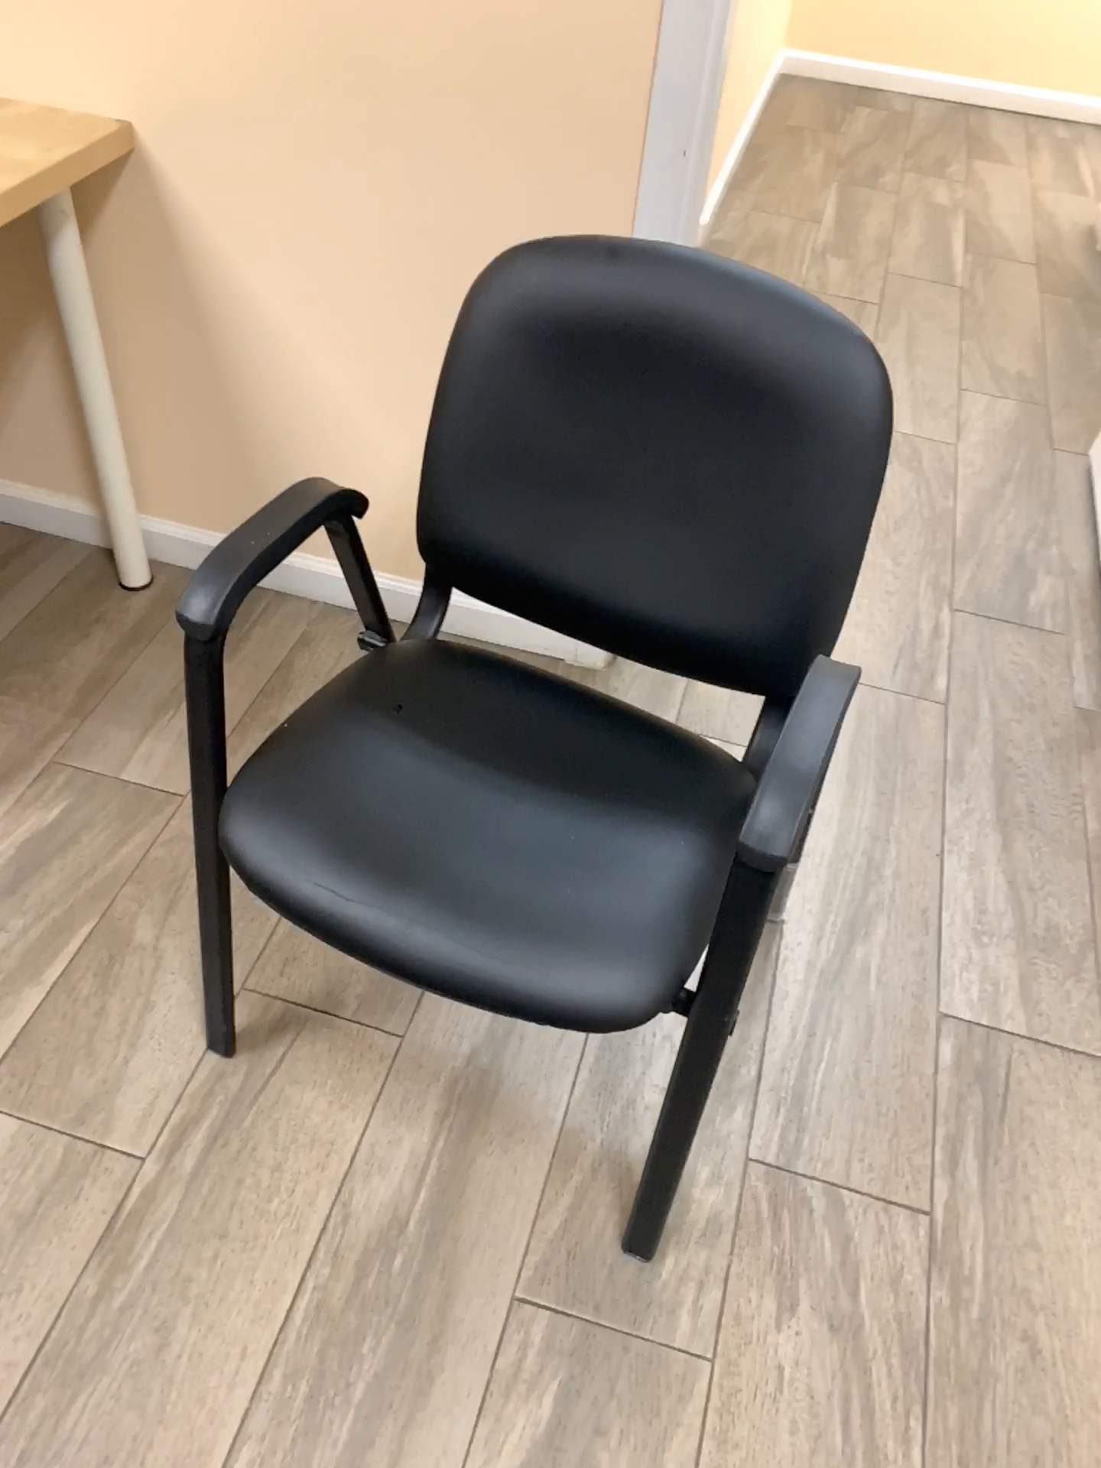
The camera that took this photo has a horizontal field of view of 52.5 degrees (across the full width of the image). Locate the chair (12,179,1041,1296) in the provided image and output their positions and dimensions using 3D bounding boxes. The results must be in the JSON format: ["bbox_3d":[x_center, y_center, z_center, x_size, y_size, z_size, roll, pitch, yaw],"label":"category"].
[{"bbox_3d":[0.006,0.008,1.165,0.606,0.817,0.608,21,47,15],"label":"chair"}]
